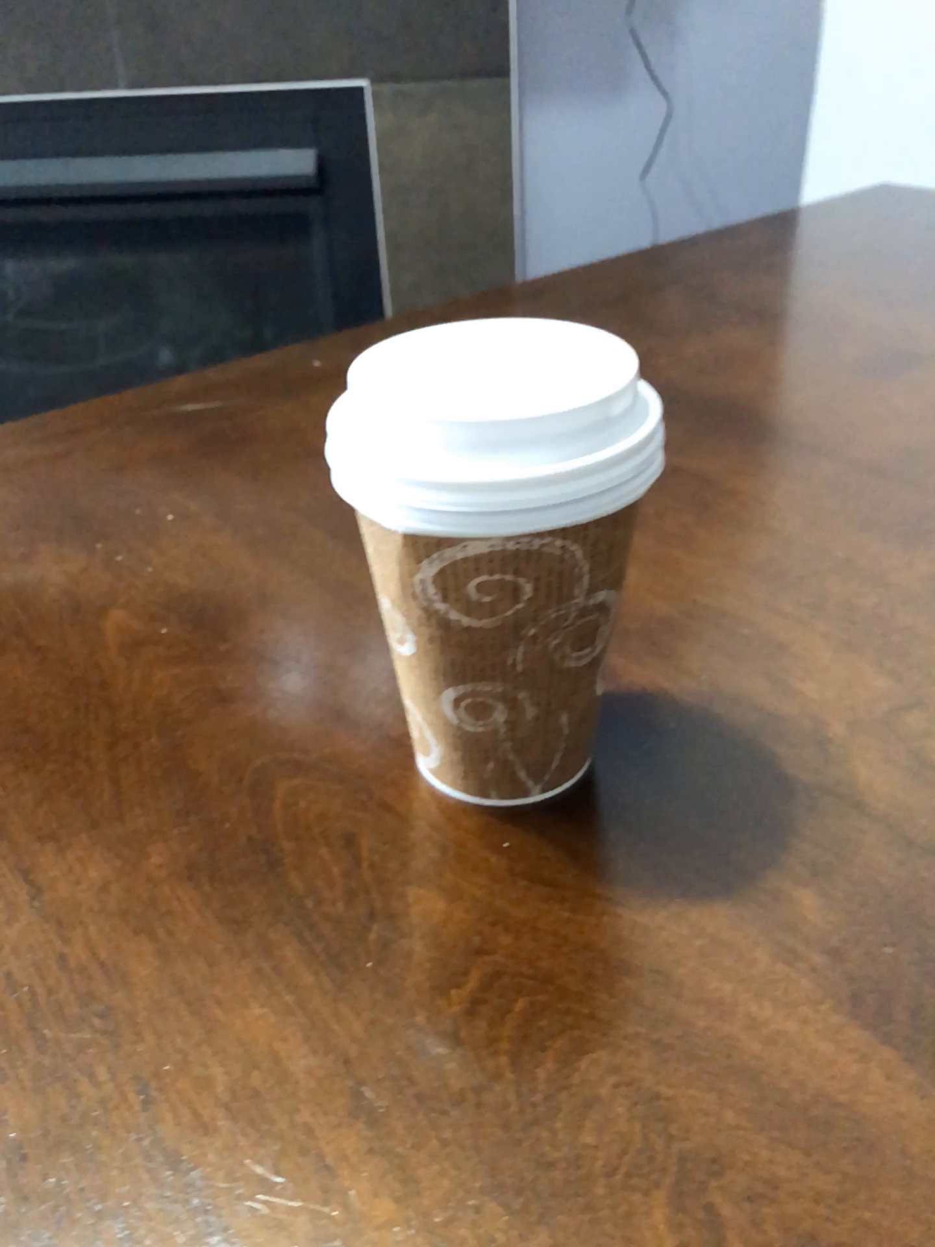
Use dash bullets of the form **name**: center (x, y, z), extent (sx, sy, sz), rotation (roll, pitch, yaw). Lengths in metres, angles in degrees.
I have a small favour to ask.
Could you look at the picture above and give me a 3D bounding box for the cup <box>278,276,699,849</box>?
- **cup**: center (0.011, -0.018, 0.242), extent (0.070, 0.100, 0.080), rotation (6, 34, 13)
